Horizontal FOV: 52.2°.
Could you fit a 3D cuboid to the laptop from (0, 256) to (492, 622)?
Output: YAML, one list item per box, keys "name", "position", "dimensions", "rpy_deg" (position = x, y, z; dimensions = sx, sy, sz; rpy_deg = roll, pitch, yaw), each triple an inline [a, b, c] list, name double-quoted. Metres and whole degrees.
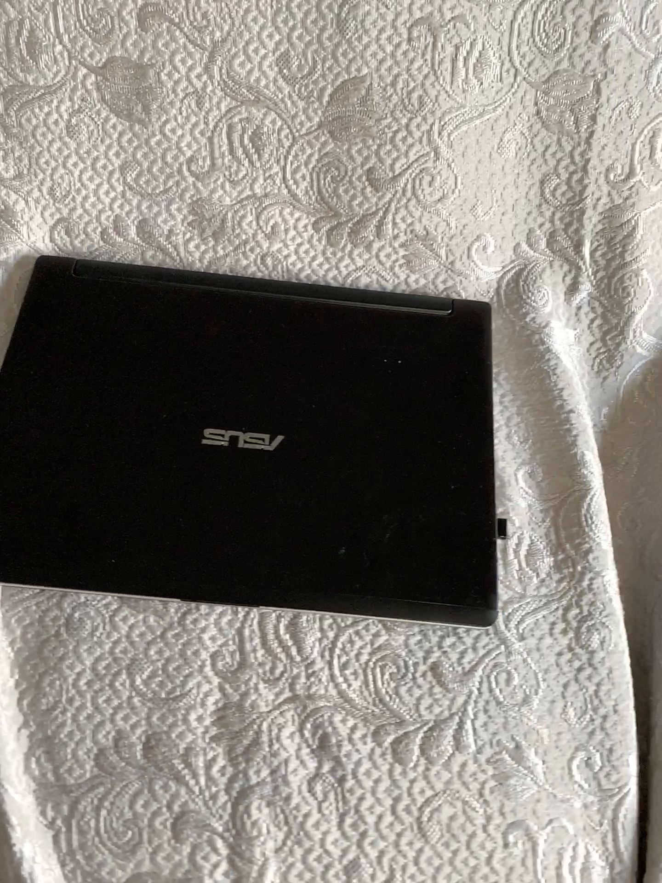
- name: "laptop"
  position: [-0.056, -0.012, 0.455]
  dimensions: [0.333, 0.001, 0.232]
  rpy_deg: [6, 67, -3]
